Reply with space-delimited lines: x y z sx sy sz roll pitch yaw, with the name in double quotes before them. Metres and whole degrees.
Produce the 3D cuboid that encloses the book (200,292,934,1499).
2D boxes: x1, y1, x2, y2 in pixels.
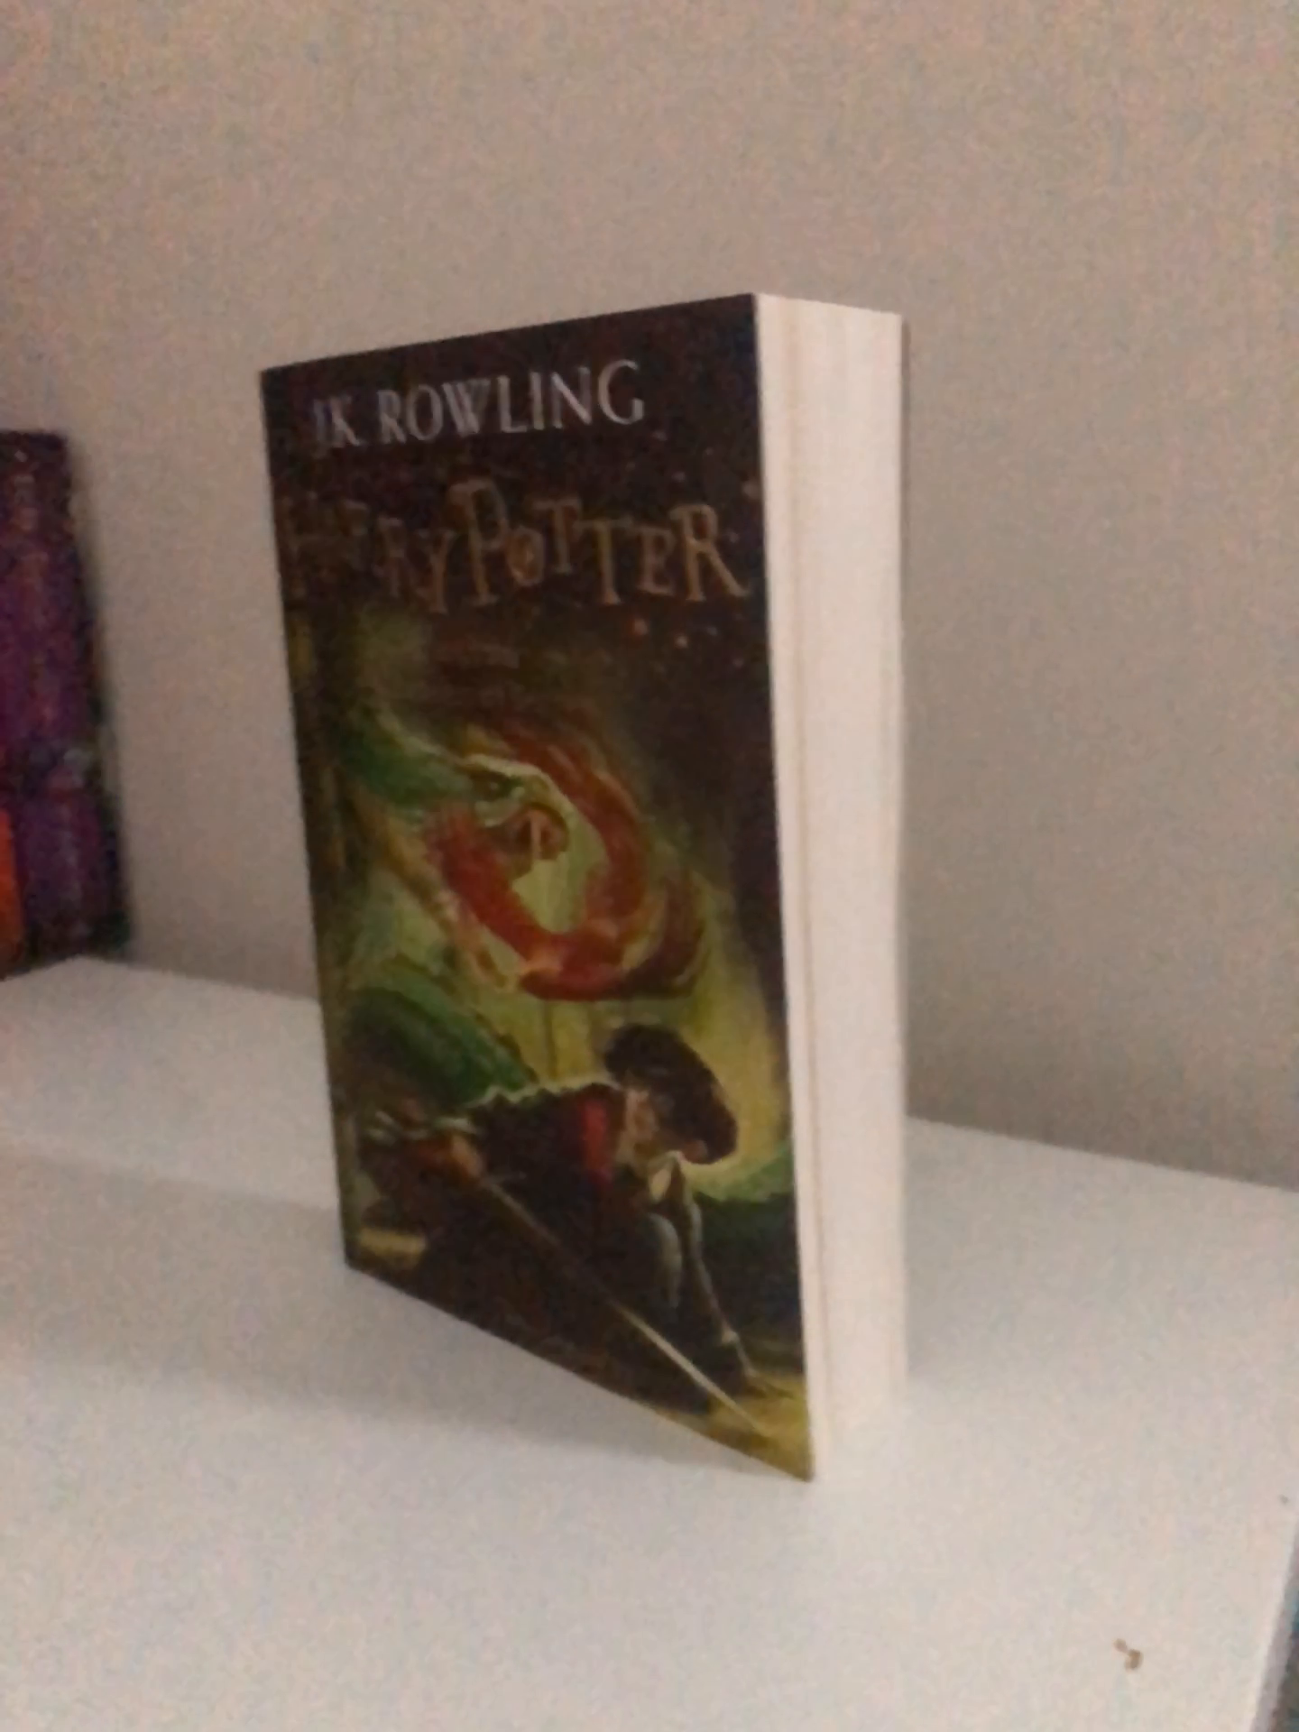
"book" -0.016 0.002 0.274 0.130 0.190 0.039 9 21 39
